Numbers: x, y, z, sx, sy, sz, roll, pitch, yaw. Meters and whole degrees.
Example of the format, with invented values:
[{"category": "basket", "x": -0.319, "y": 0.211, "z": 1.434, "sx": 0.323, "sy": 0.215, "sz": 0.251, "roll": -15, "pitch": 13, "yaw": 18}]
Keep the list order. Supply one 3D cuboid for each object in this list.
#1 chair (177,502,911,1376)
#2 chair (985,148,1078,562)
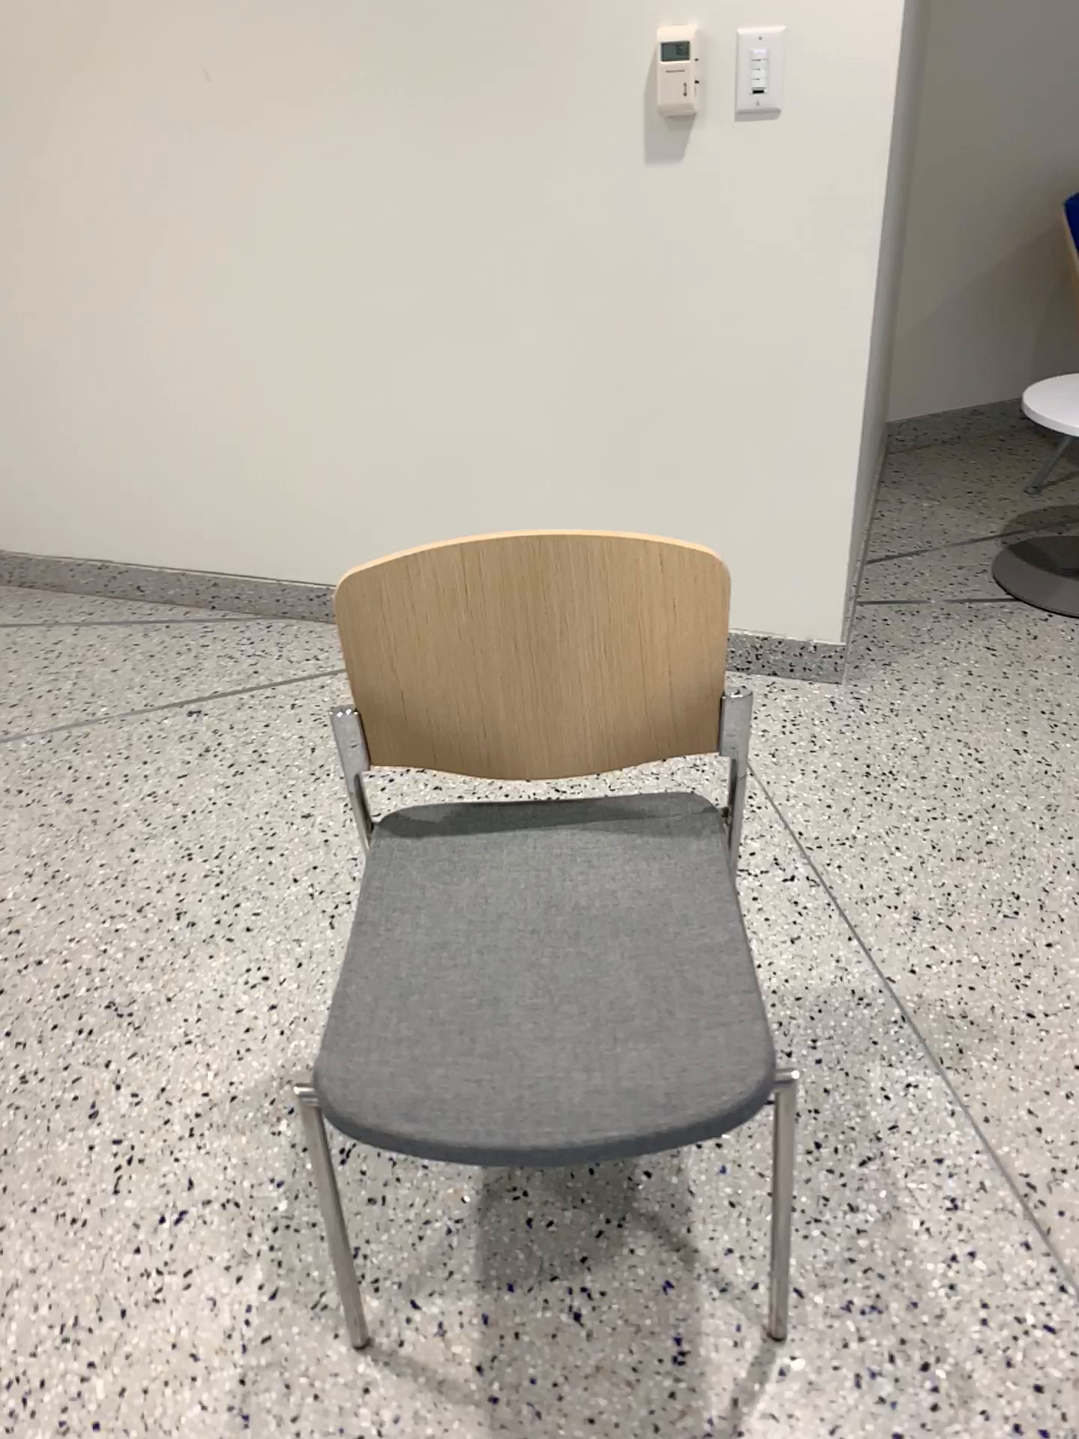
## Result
[{"category": "chair", "x": 0.033, "y": 0.242, "z": 1.260, "sx": 0.537, "sy": 0.768, "sz": 0.596, "roll": -2, "pitch": 33, "yaw": 4}, {"category": "chair", "x": 1.746, "y": -0.989, "z": 2.841, "sx": 0.764, "sy": 0.758, "sz": 0.771, "roll": 24, "pitch": 43, "yaw": 36}]
